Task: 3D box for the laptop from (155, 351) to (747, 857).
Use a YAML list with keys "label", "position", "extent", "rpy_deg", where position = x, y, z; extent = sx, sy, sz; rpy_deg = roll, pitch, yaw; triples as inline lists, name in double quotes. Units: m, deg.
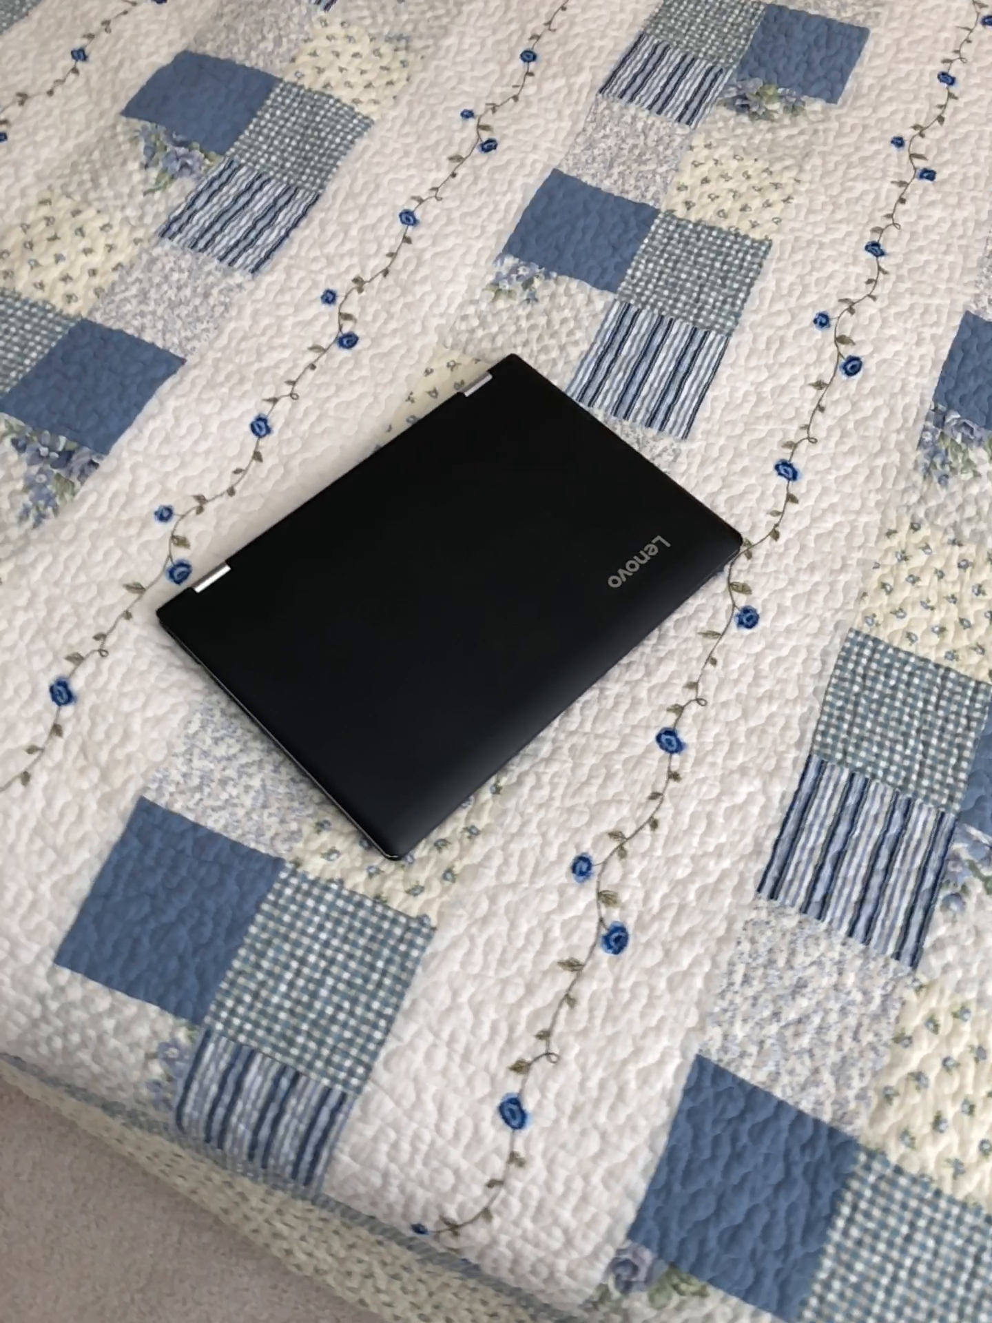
- label: "laptop"
  position: [-0.023, -0.059, 0.715]
  extent: [0.224, 0.008, 0.321]
  rpy_deg: [42, 67, 18]
